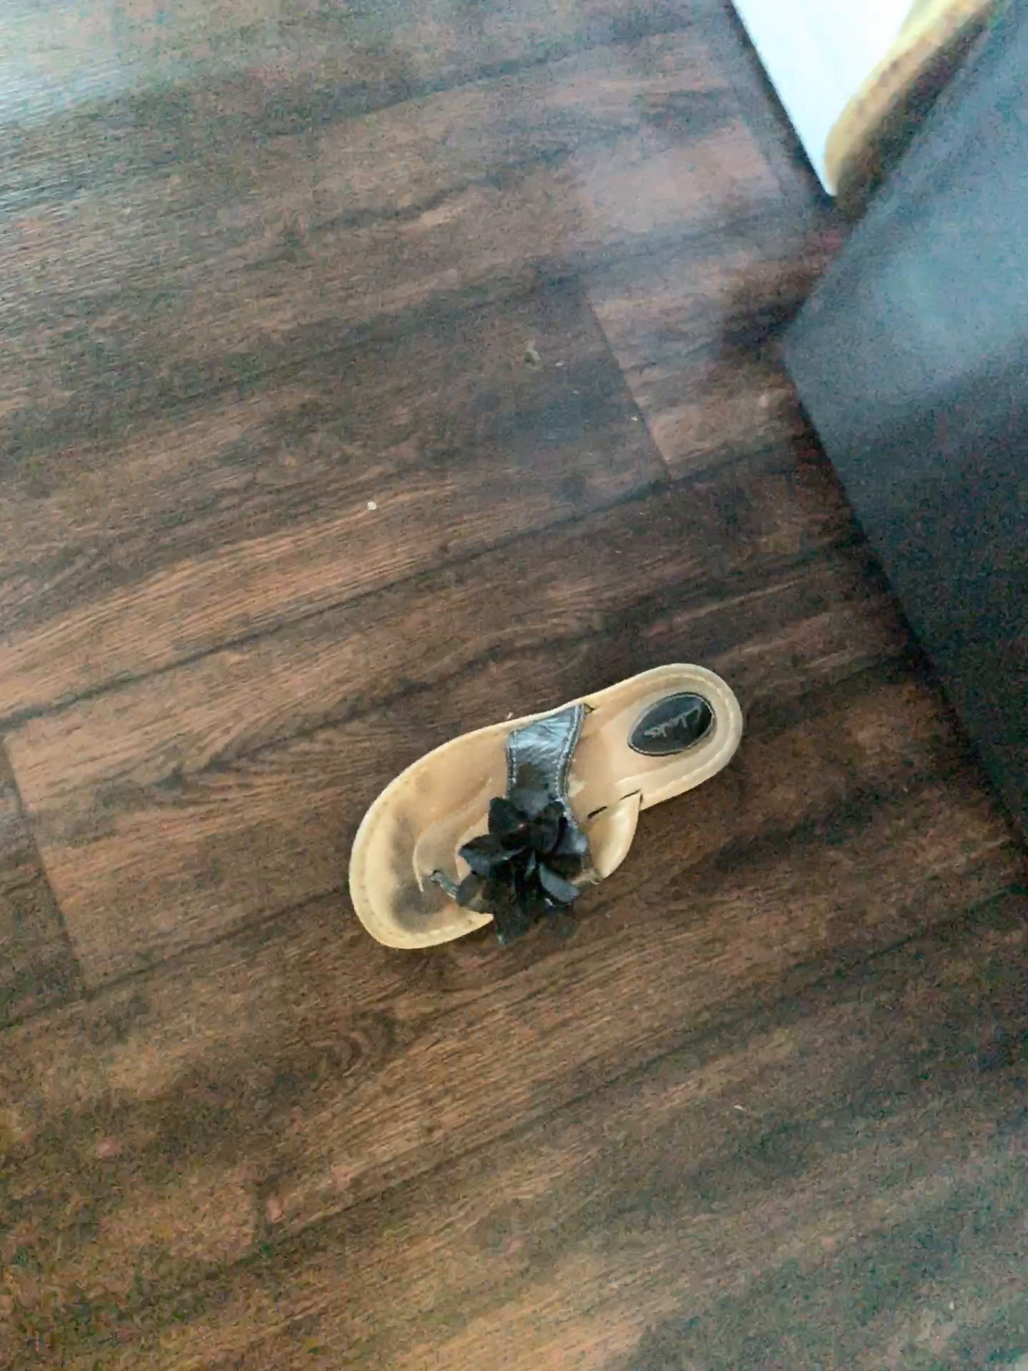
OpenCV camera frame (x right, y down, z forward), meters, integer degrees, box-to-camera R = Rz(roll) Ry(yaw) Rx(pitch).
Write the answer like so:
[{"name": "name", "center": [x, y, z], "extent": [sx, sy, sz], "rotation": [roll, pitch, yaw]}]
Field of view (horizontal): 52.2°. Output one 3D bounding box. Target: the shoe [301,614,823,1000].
[{"name": "shoe", "center": [0.026, 0.062, 0.567], "extent": [0.250, 0.050, 0.110], "rotation": [-22, 81, -10]}]
